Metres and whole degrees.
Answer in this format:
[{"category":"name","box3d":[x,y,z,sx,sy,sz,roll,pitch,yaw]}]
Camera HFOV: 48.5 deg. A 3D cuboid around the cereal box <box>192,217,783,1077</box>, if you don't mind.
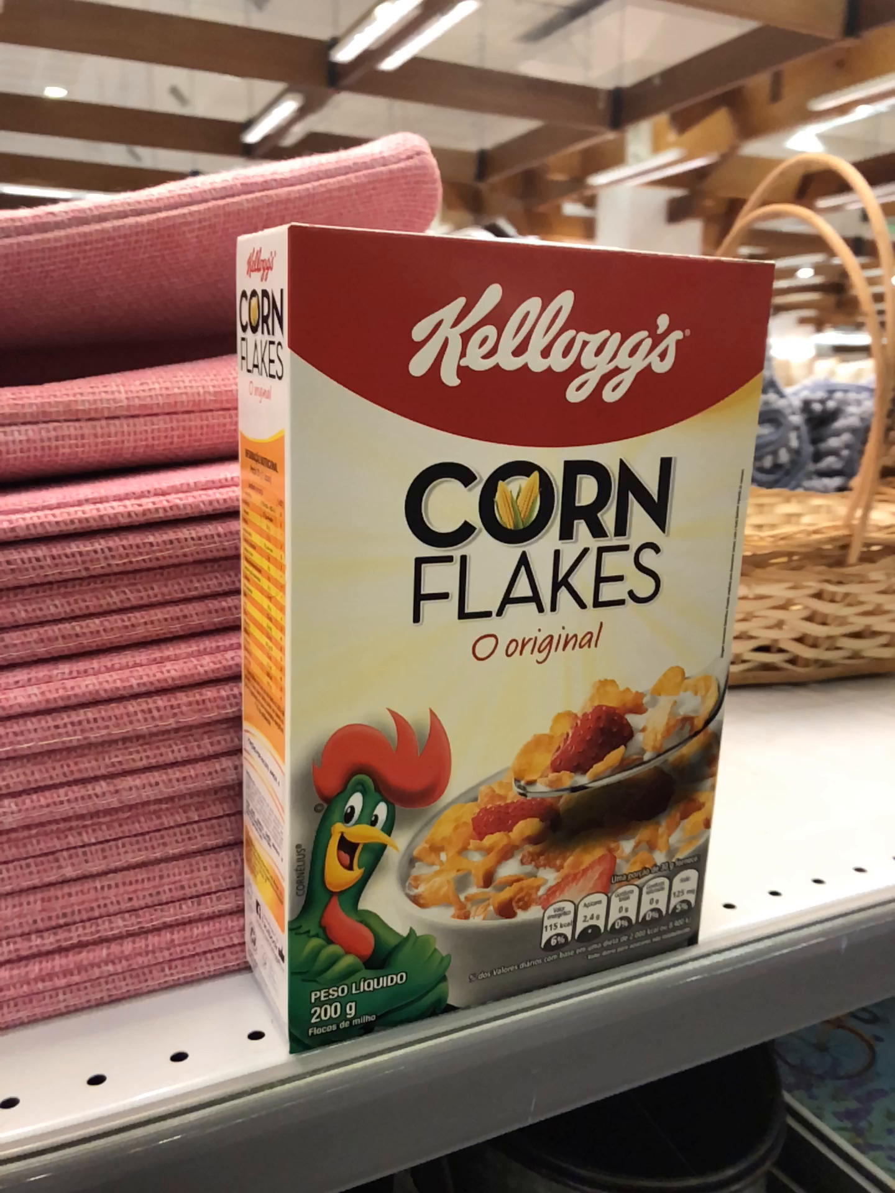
[{"category":"cereal box","box3d":[0.010,0.014,0.348,0.180,0.259,0.060,-4,16,-24]}]
